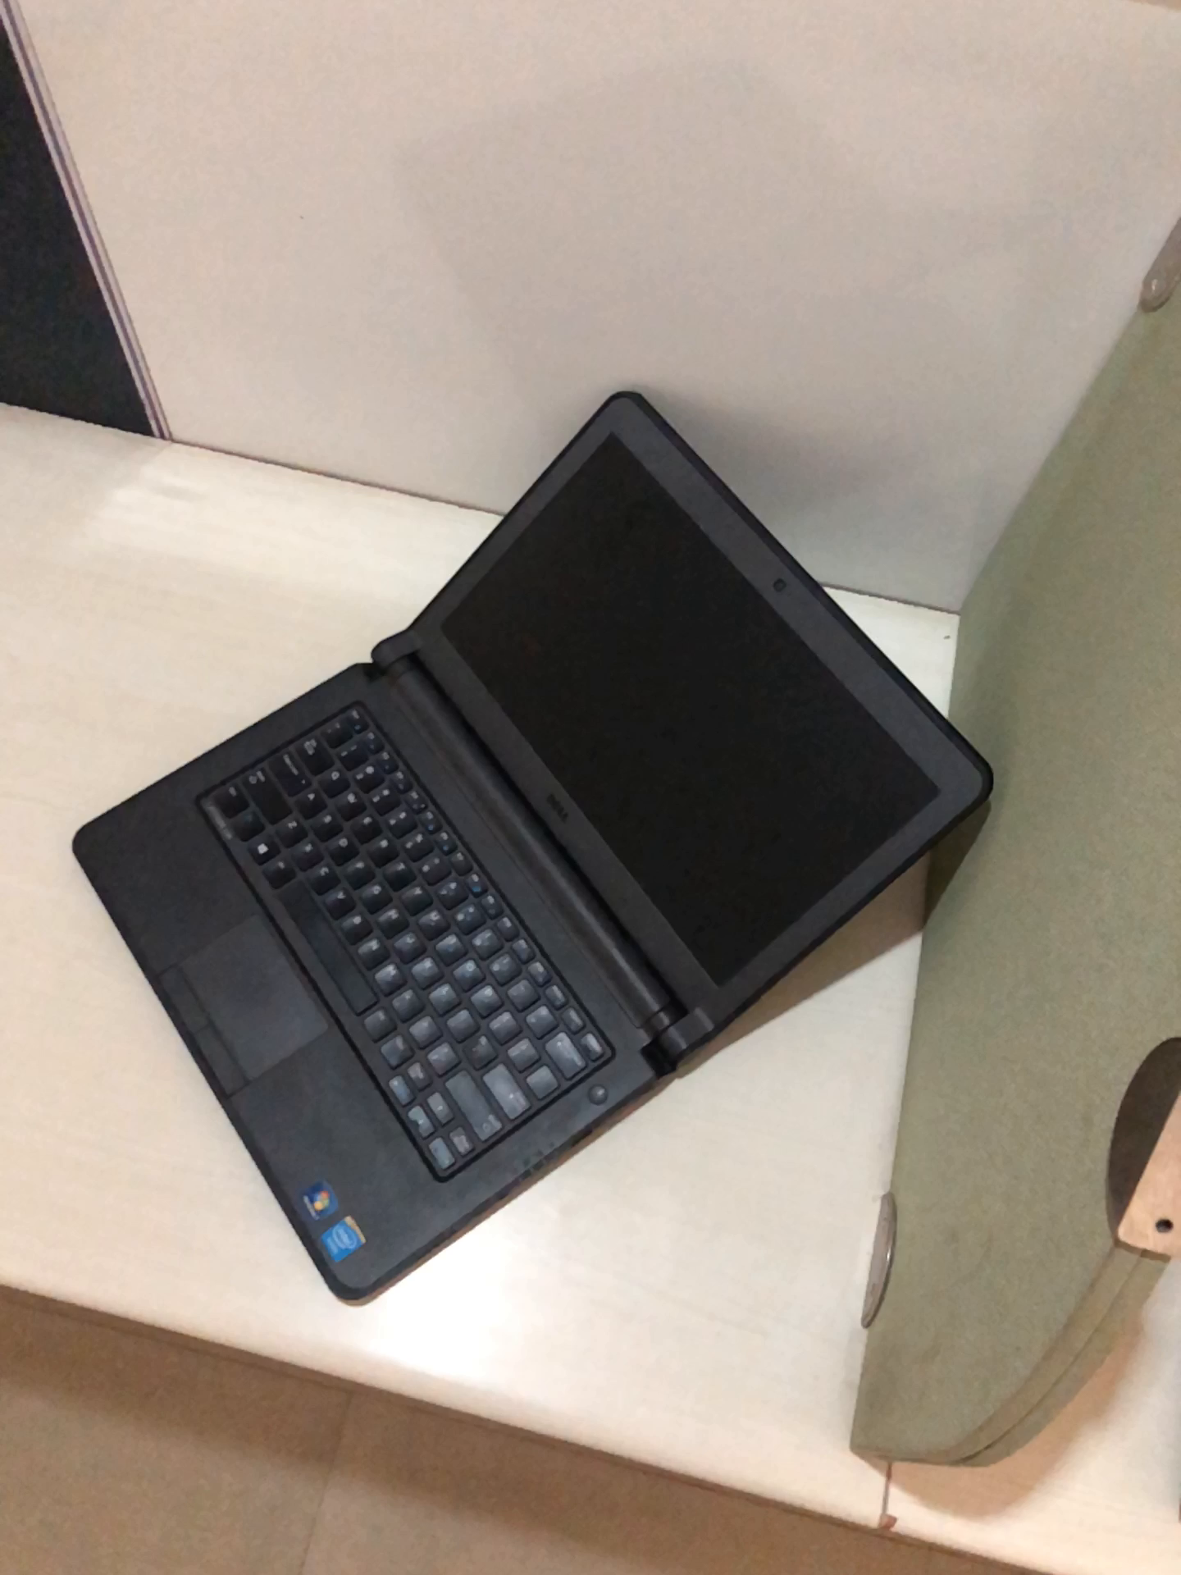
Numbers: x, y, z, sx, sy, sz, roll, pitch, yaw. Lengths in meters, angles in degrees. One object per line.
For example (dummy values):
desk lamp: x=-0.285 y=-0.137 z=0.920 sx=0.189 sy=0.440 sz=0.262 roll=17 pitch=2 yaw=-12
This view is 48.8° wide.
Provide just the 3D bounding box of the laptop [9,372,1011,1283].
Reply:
laptop: x=-0.048 y=0.006 z=0.705 sx=0.394 sy=0.128 sz=0.310 roll=-32 pitch=68 yaw=-13
